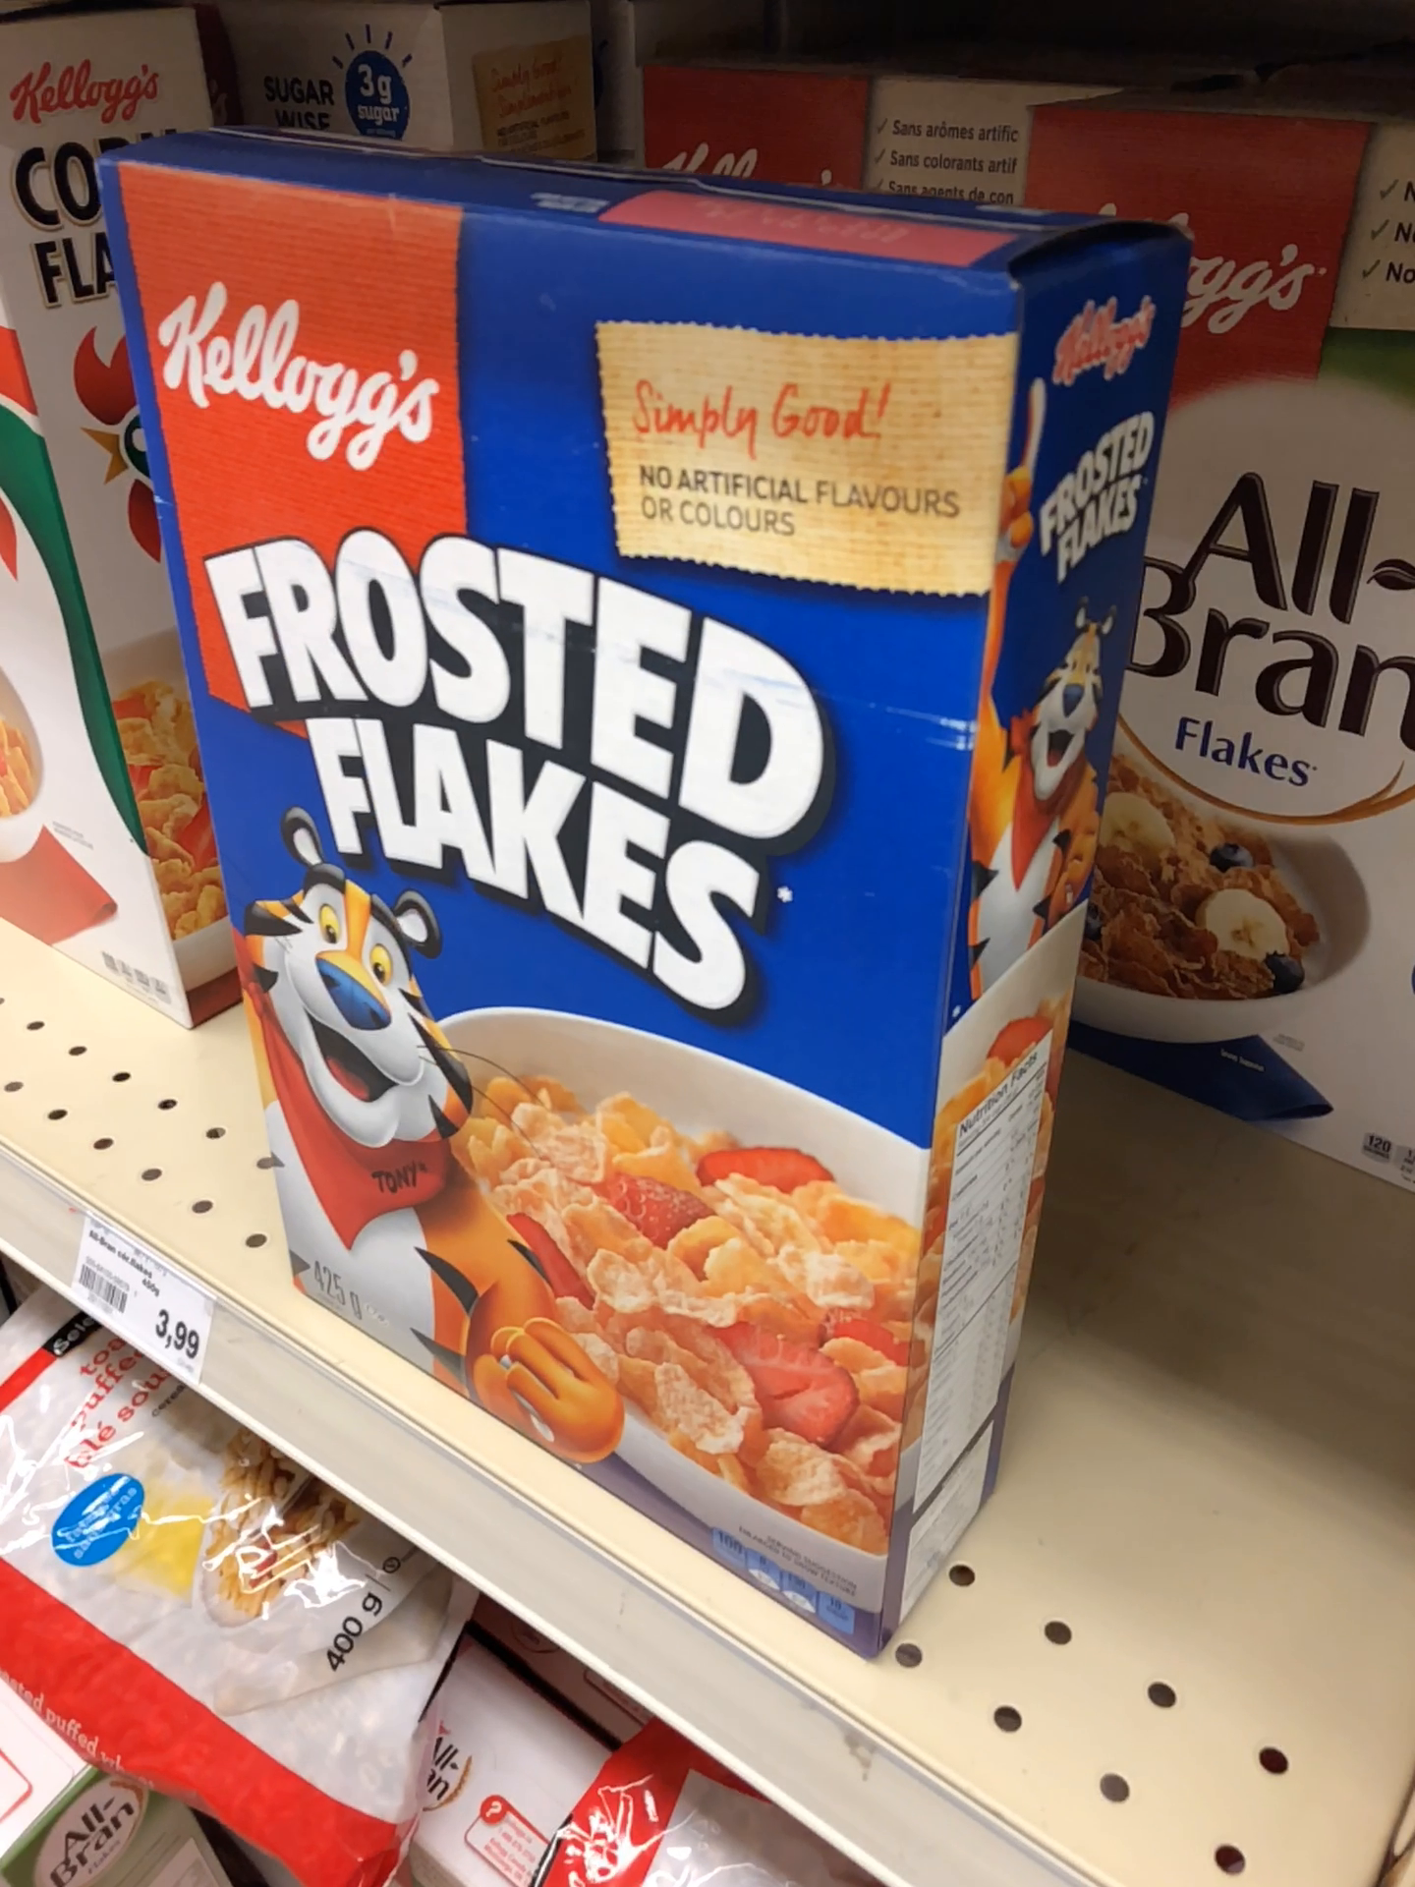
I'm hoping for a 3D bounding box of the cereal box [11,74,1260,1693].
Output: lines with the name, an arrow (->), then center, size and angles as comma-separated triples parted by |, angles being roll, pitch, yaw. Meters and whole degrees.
cereal box -> -0.027, -0.015, 0.320 | 0.211, 0.278, 0.060 | 23, 37, 32
